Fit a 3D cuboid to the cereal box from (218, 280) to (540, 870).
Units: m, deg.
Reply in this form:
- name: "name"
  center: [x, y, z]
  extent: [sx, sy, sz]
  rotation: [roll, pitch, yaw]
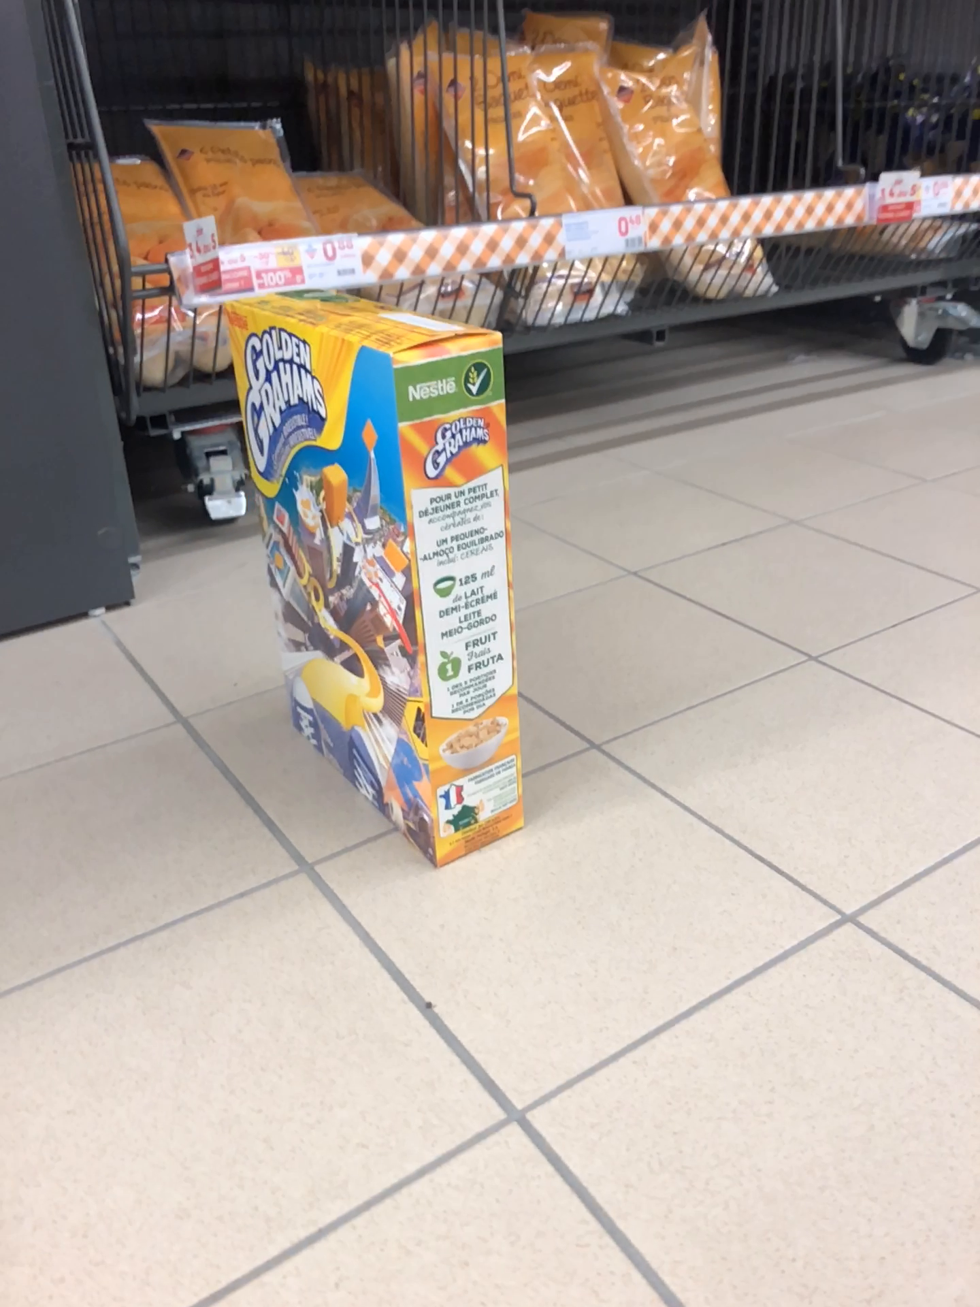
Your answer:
- name: "cereal box"
  center: [-0.061, -0.052, 0.596]
  extent: [0.070, 0.268, 0.200]
  rotation: [-18, 31, -30]
